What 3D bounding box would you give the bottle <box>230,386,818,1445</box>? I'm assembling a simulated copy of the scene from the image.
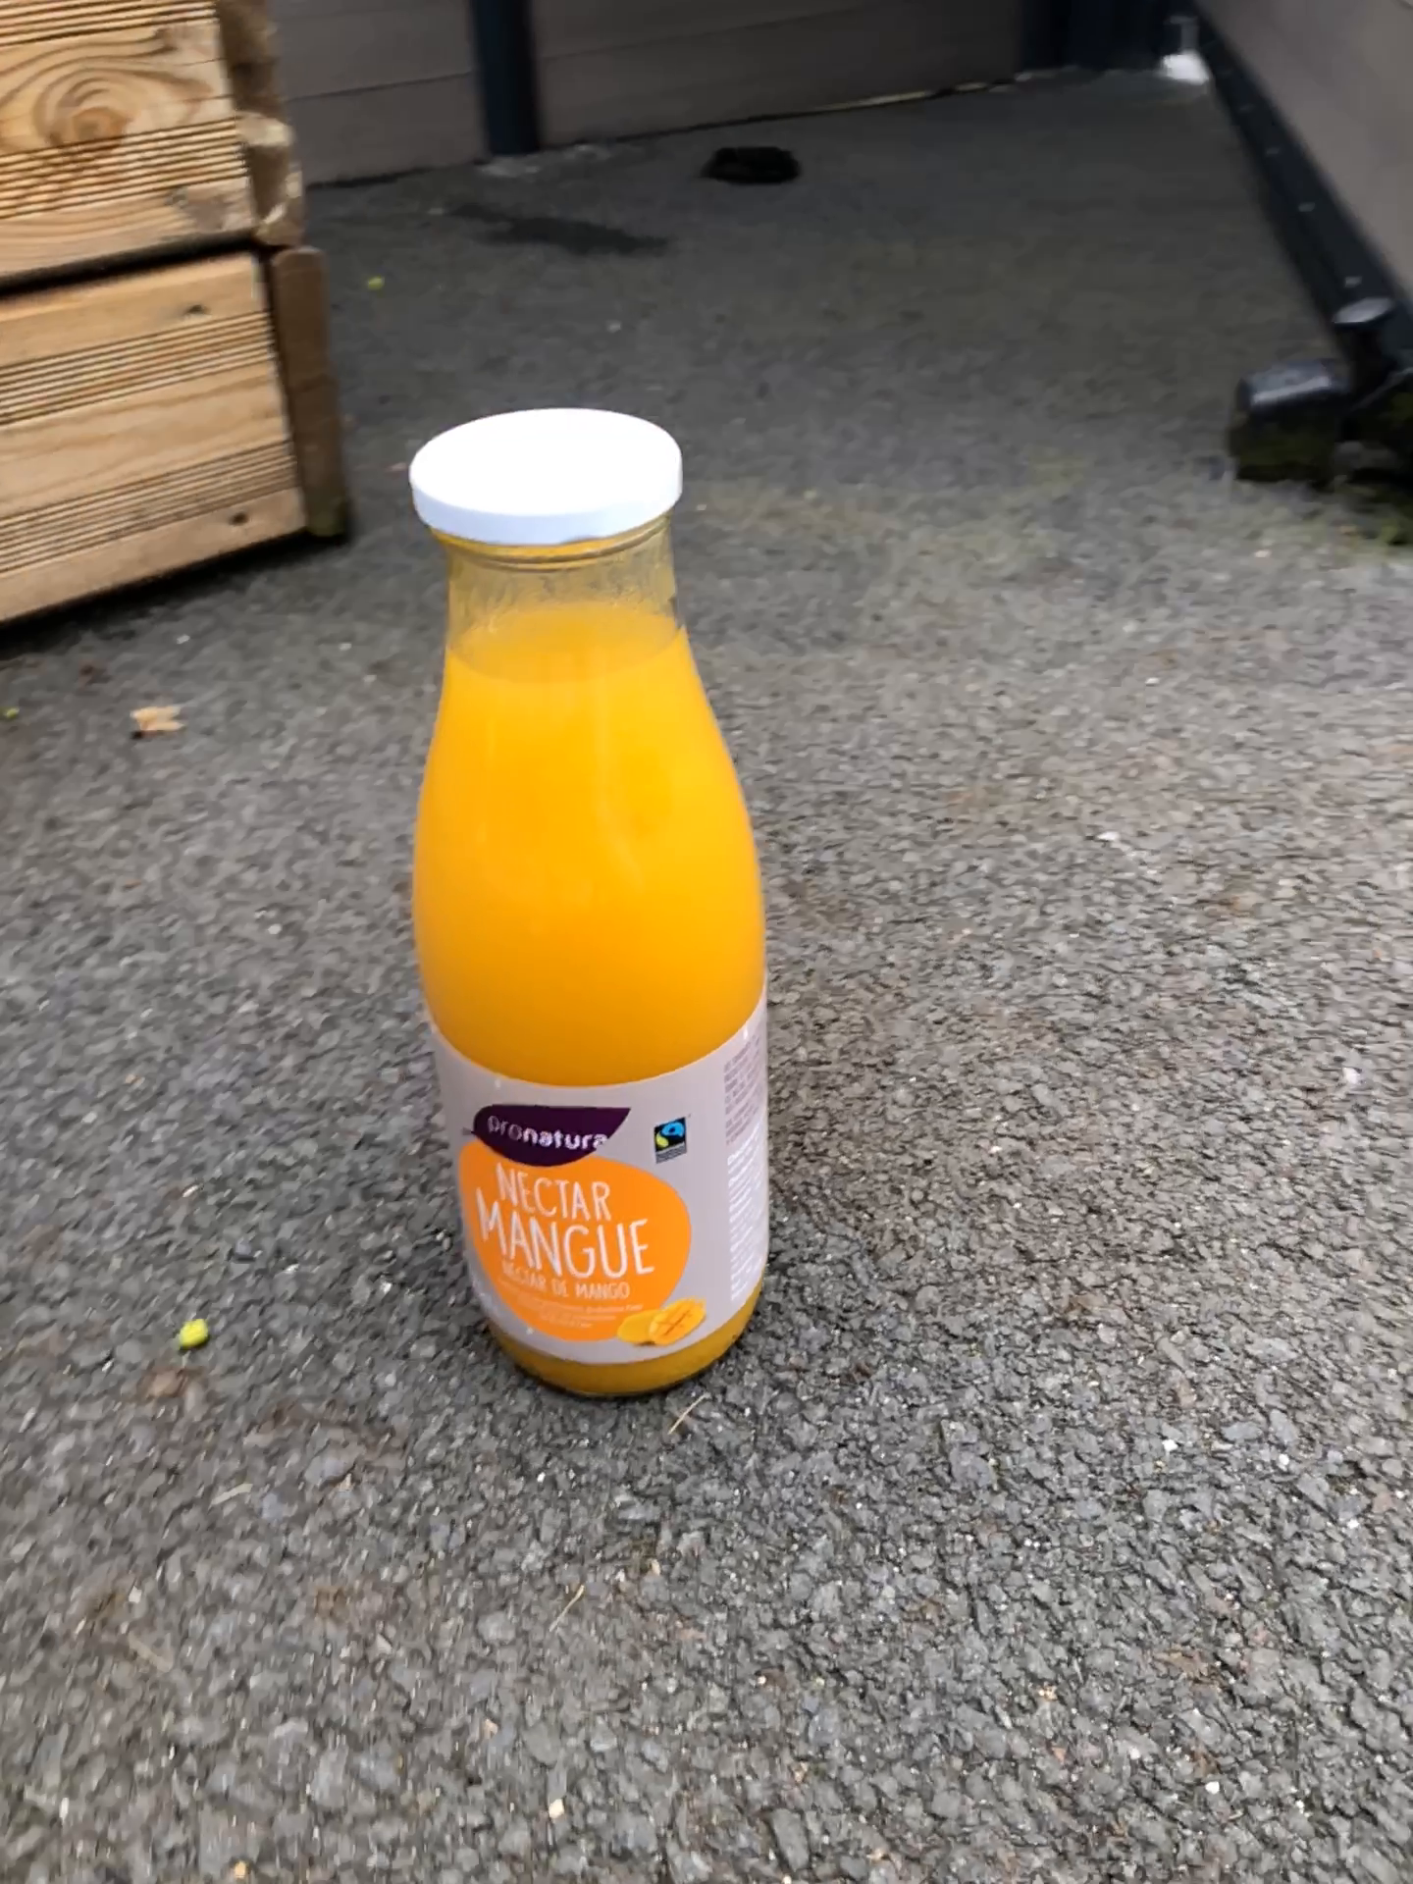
[{"bbox_3d":[-0.024,0.001,0.333,0.080,0.209,0.081,-2,35,1],"label":"bottle"}]
